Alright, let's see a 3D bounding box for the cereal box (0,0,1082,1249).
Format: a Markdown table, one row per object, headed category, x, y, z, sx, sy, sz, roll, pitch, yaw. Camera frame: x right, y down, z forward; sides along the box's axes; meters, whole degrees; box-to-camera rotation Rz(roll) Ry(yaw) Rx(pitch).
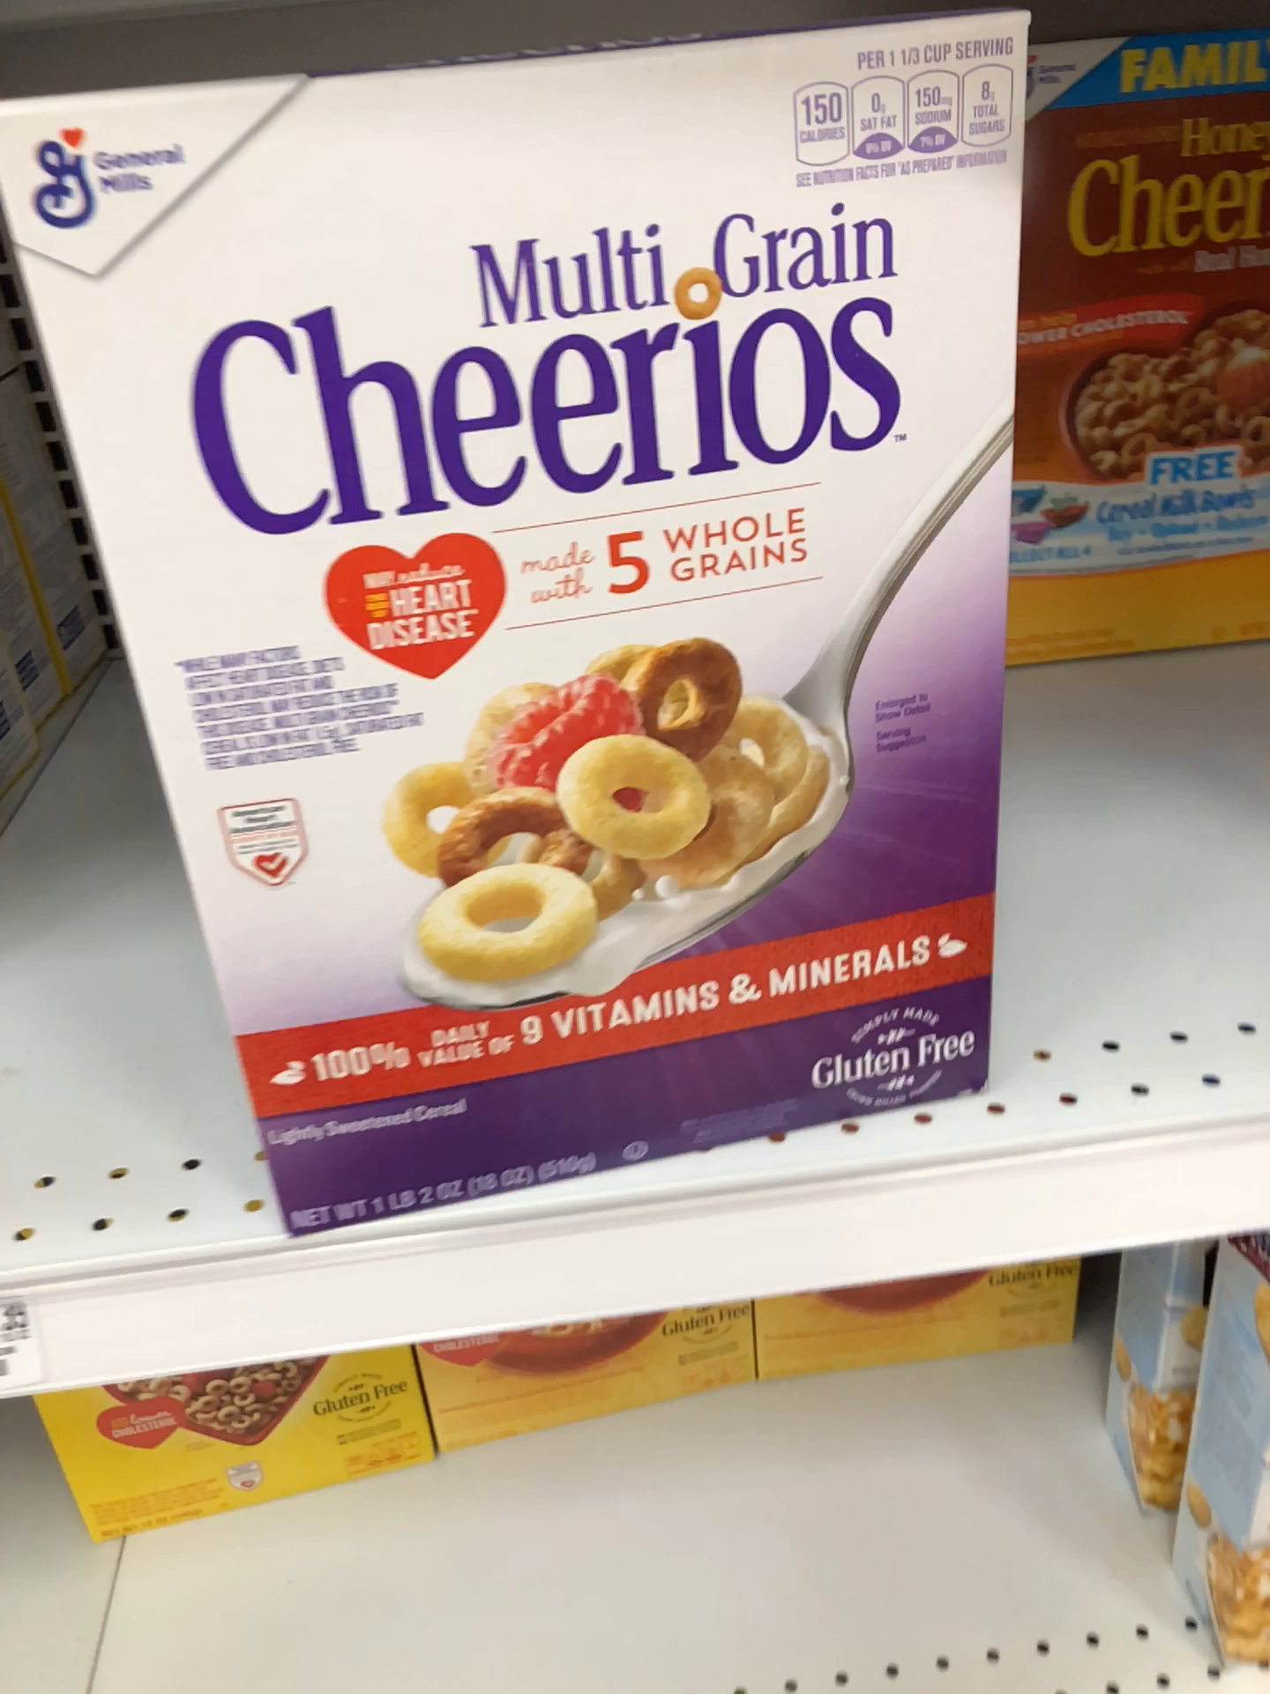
| category | x | y | z | sx | sy | sz | roll | pitch | yaw |
| --- | --- | --- | --- | --- | --- | --- | --- | --- | --- |
| cereal box | -0.015 | -0.055 | 0.420 | 0.260 | 0.329 | 0.070 | -11 | 29 | -8 |
